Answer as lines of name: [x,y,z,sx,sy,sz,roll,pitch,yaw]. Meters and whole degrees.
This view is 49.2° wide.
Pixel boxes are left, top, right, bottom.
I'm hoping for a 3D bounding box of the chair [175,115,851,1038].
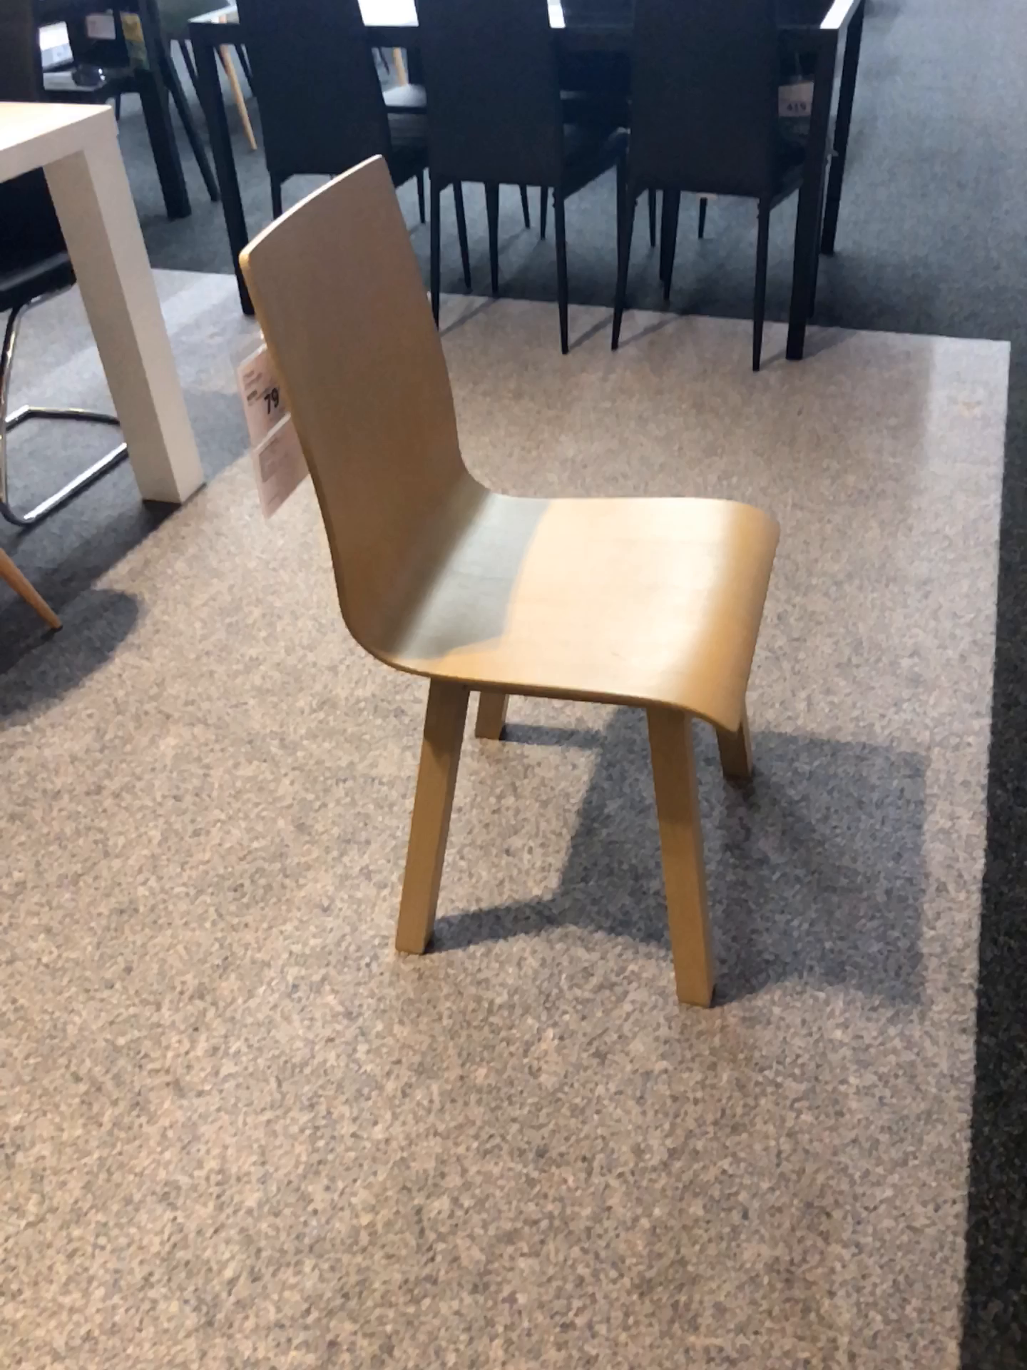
chair: [0.061,-0.120,1.260,0.490,0.835,0.523,7,39,13]
